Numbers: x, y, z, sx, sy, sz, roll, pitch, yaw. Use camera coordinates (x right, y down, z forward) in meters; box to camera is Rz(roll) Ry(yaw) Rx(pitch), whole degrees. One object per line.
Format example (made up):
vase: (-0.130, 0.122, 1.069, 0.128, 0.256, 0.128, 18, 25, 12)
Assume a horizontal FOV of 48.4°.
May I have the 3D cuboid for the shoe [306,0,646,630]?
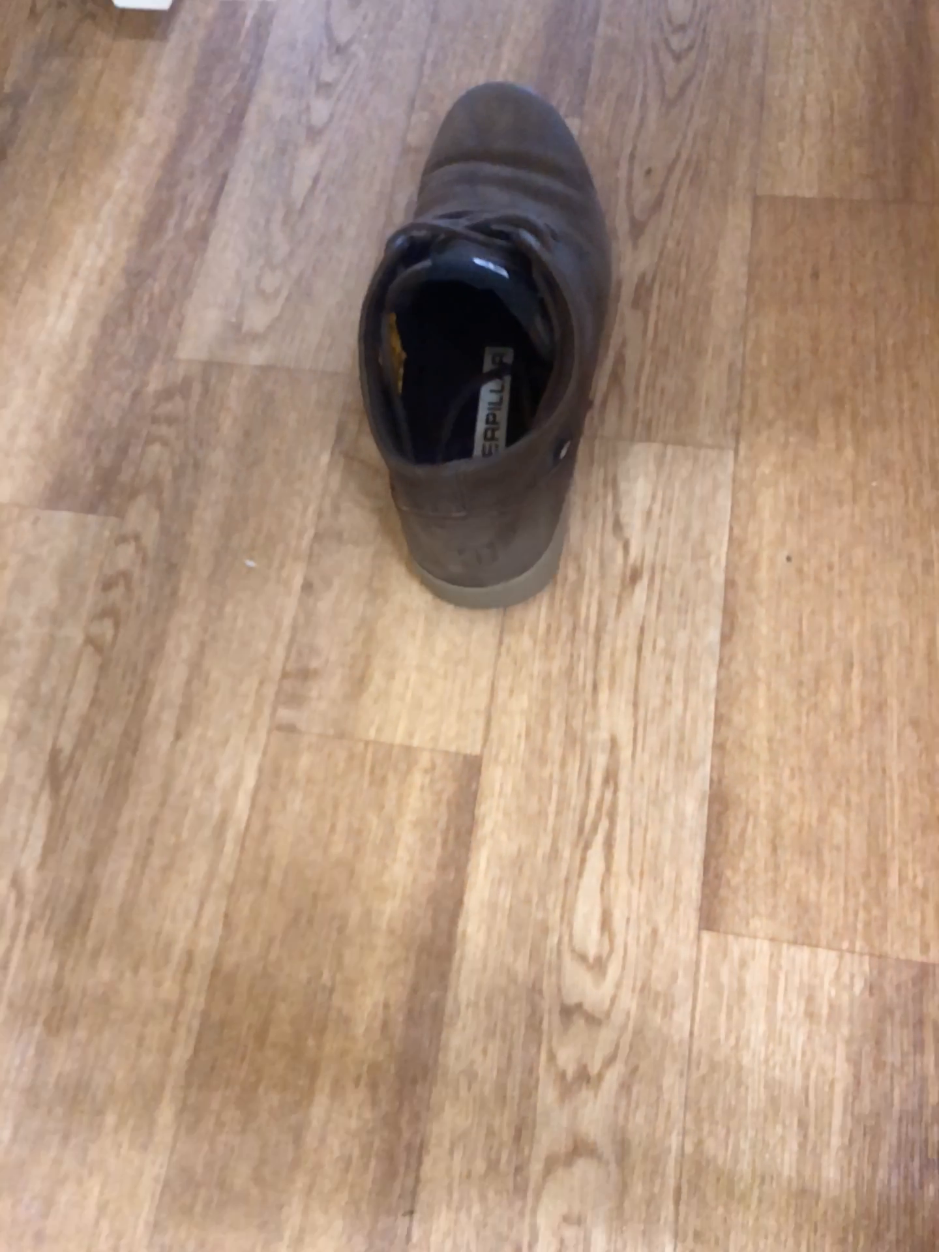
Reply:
shoe: (0.014, -0.147, 0.461, 0.100, 0.100, 0.270, 6, 69, 7)
